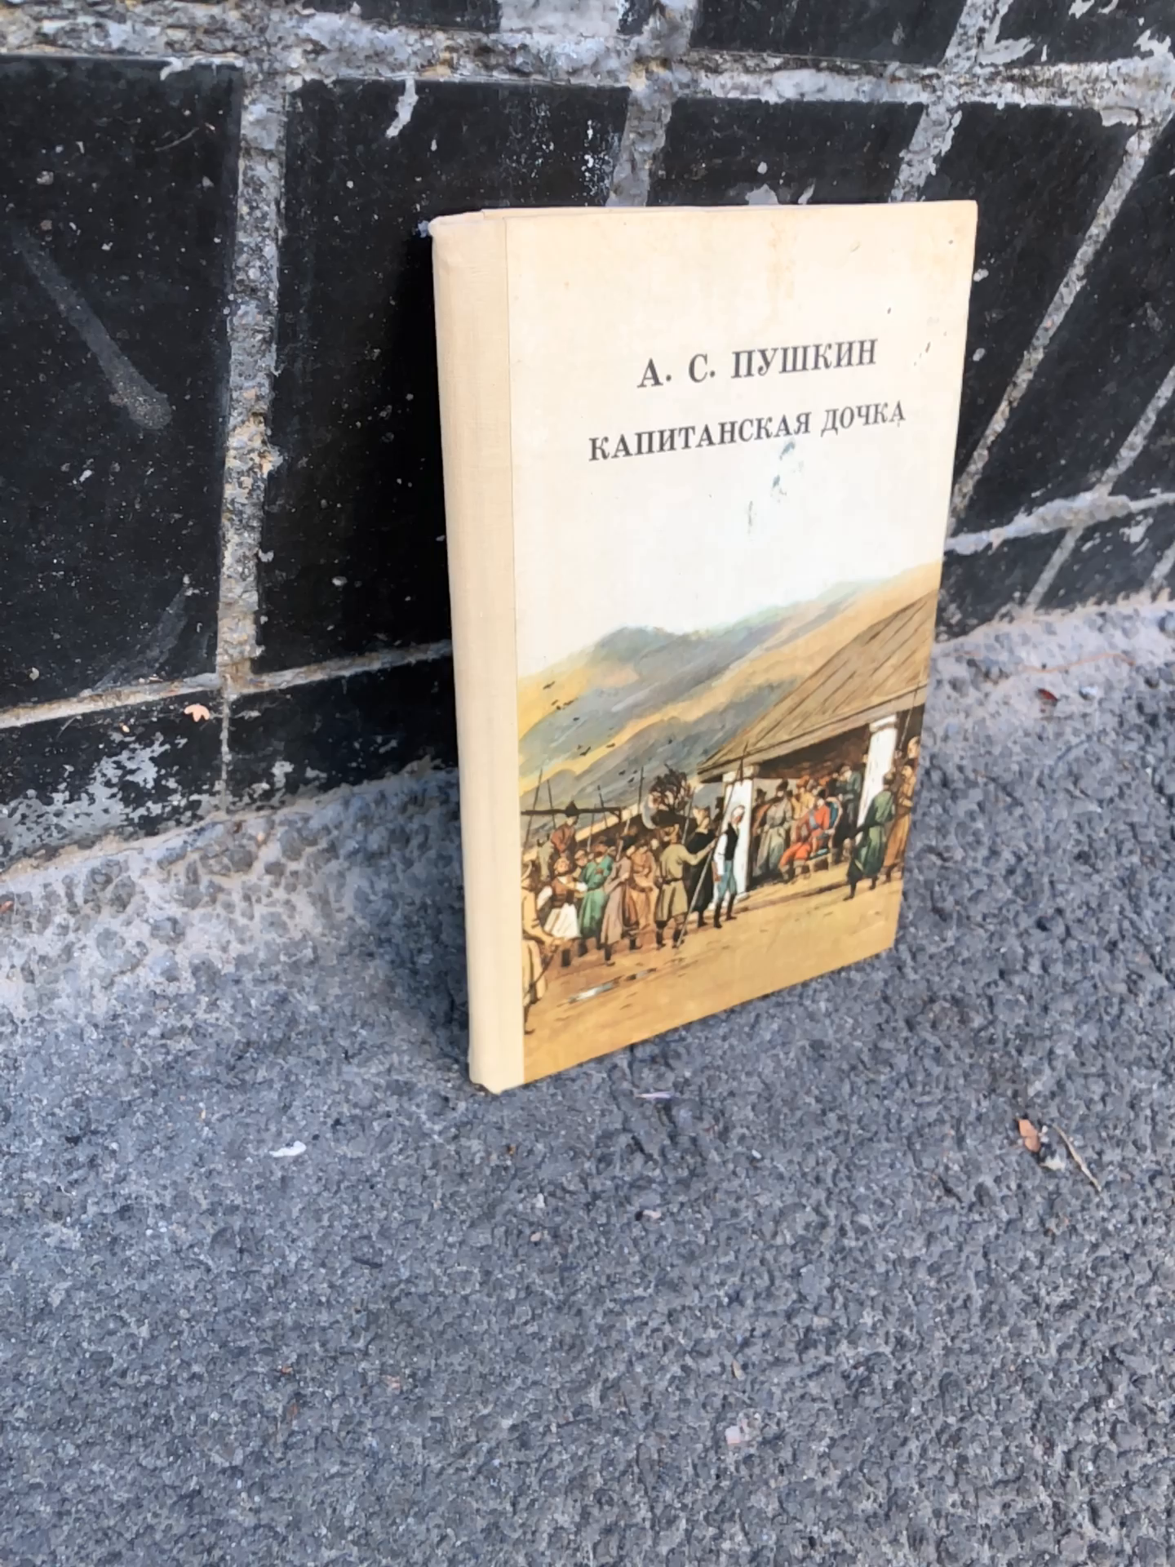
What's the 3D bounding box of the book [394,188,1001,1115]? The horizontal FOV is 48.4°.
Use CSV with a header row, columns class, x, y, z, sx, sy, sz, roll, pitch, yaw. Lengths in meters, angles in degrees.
class,x,y,z,sx,sy,sz,roll,pitch,yaw
book,0.027,-0.031,0.330,0.145,0.215,0.023,-14,30,-28
